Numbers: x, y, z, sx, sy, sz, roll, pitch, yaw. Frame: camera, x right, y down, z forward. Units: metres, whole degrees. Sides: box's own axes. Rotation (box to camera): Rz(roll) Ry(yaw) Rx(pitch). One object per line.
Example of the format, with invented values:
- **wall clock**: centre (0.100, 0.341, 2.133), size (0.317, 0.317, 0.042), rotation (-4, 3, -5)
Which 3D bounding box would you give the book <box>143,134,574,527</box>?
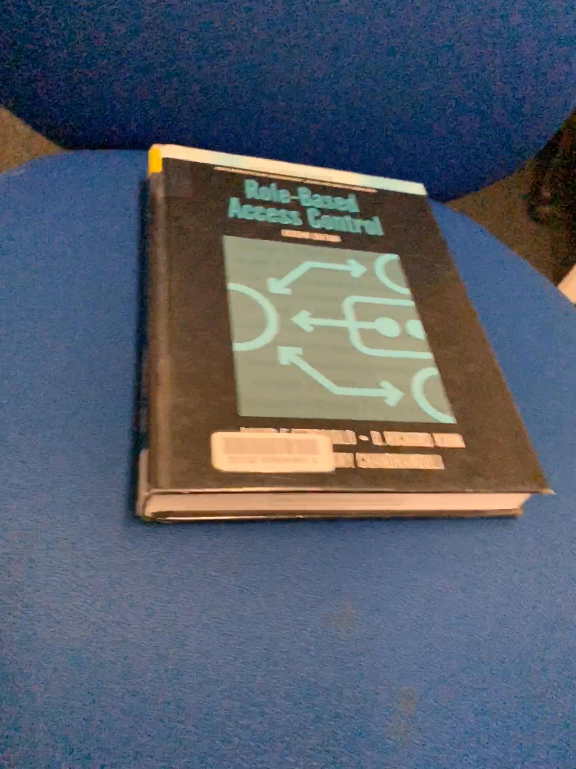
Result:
- **book**: centre (0.021, -0.043, 0.330), size (0.189, 0.030, 0.242), rotation (3, 52, -16)
